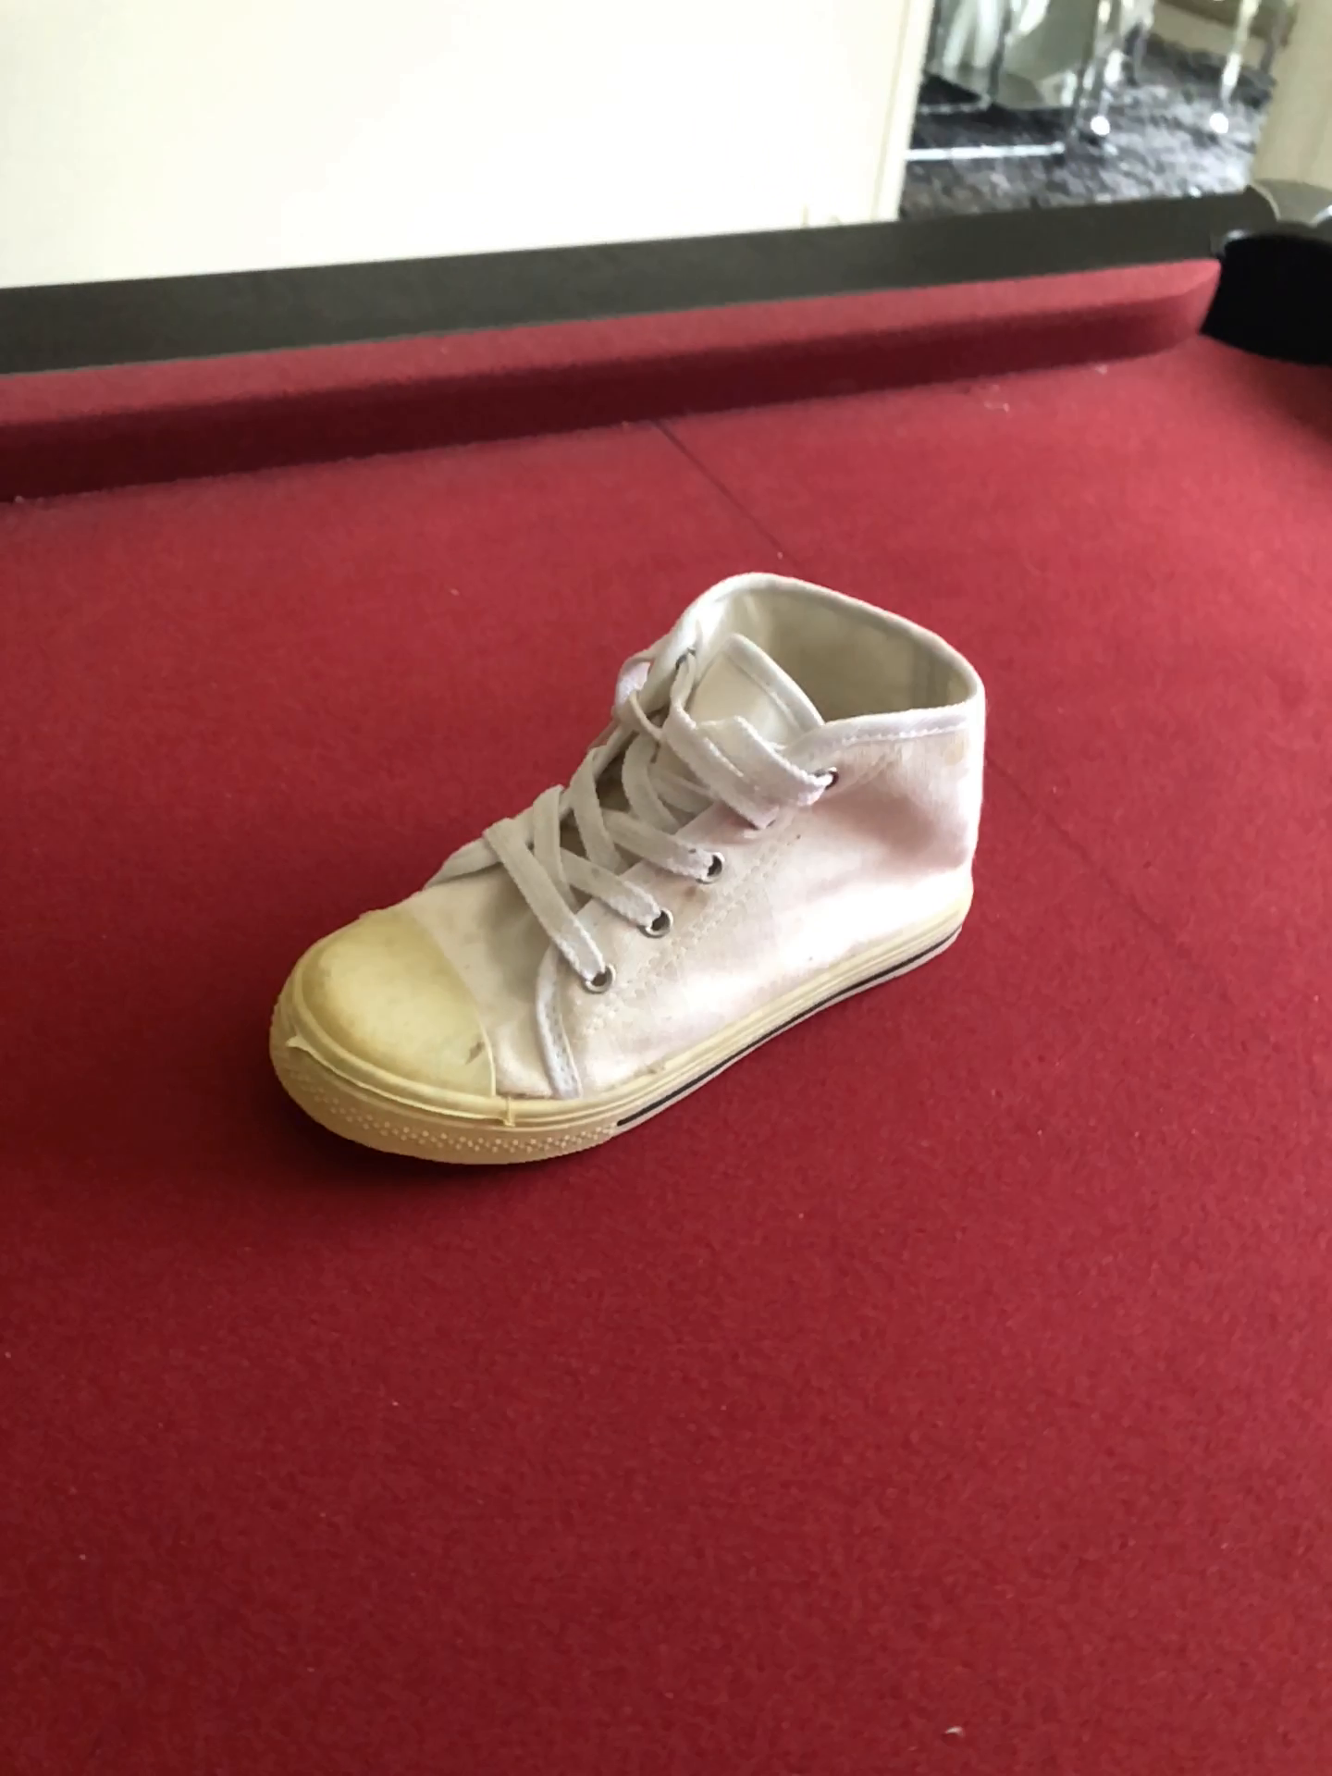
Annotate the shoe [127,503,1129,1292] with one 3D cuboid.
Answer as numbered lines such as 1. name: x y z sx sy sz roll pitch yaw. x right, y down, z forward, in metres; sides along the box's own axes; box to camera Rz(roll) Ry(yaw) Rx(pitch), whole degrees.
1. shoe: -0.003 -0.012 0.376 0.221 0.089 0.100 -24 49 -30
